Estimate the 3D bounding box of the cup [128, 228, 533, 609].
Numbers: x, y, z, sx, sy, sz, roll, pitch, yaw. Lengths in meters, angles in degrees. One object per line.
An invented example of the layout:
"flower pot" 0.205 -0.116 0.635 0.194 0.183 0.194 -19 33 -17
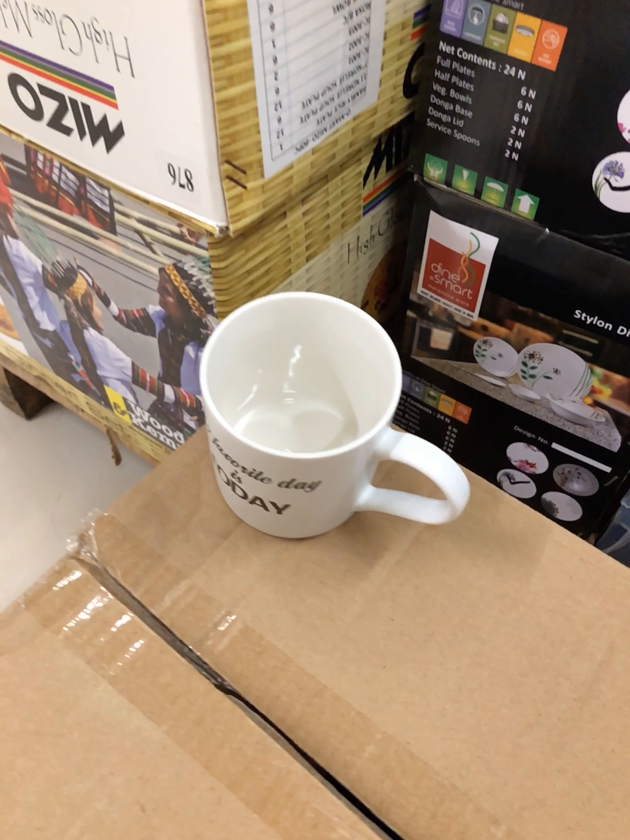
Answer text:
"cup" 0.005 0.003 0.306 0.130 0.099 0.080 27 63 12
